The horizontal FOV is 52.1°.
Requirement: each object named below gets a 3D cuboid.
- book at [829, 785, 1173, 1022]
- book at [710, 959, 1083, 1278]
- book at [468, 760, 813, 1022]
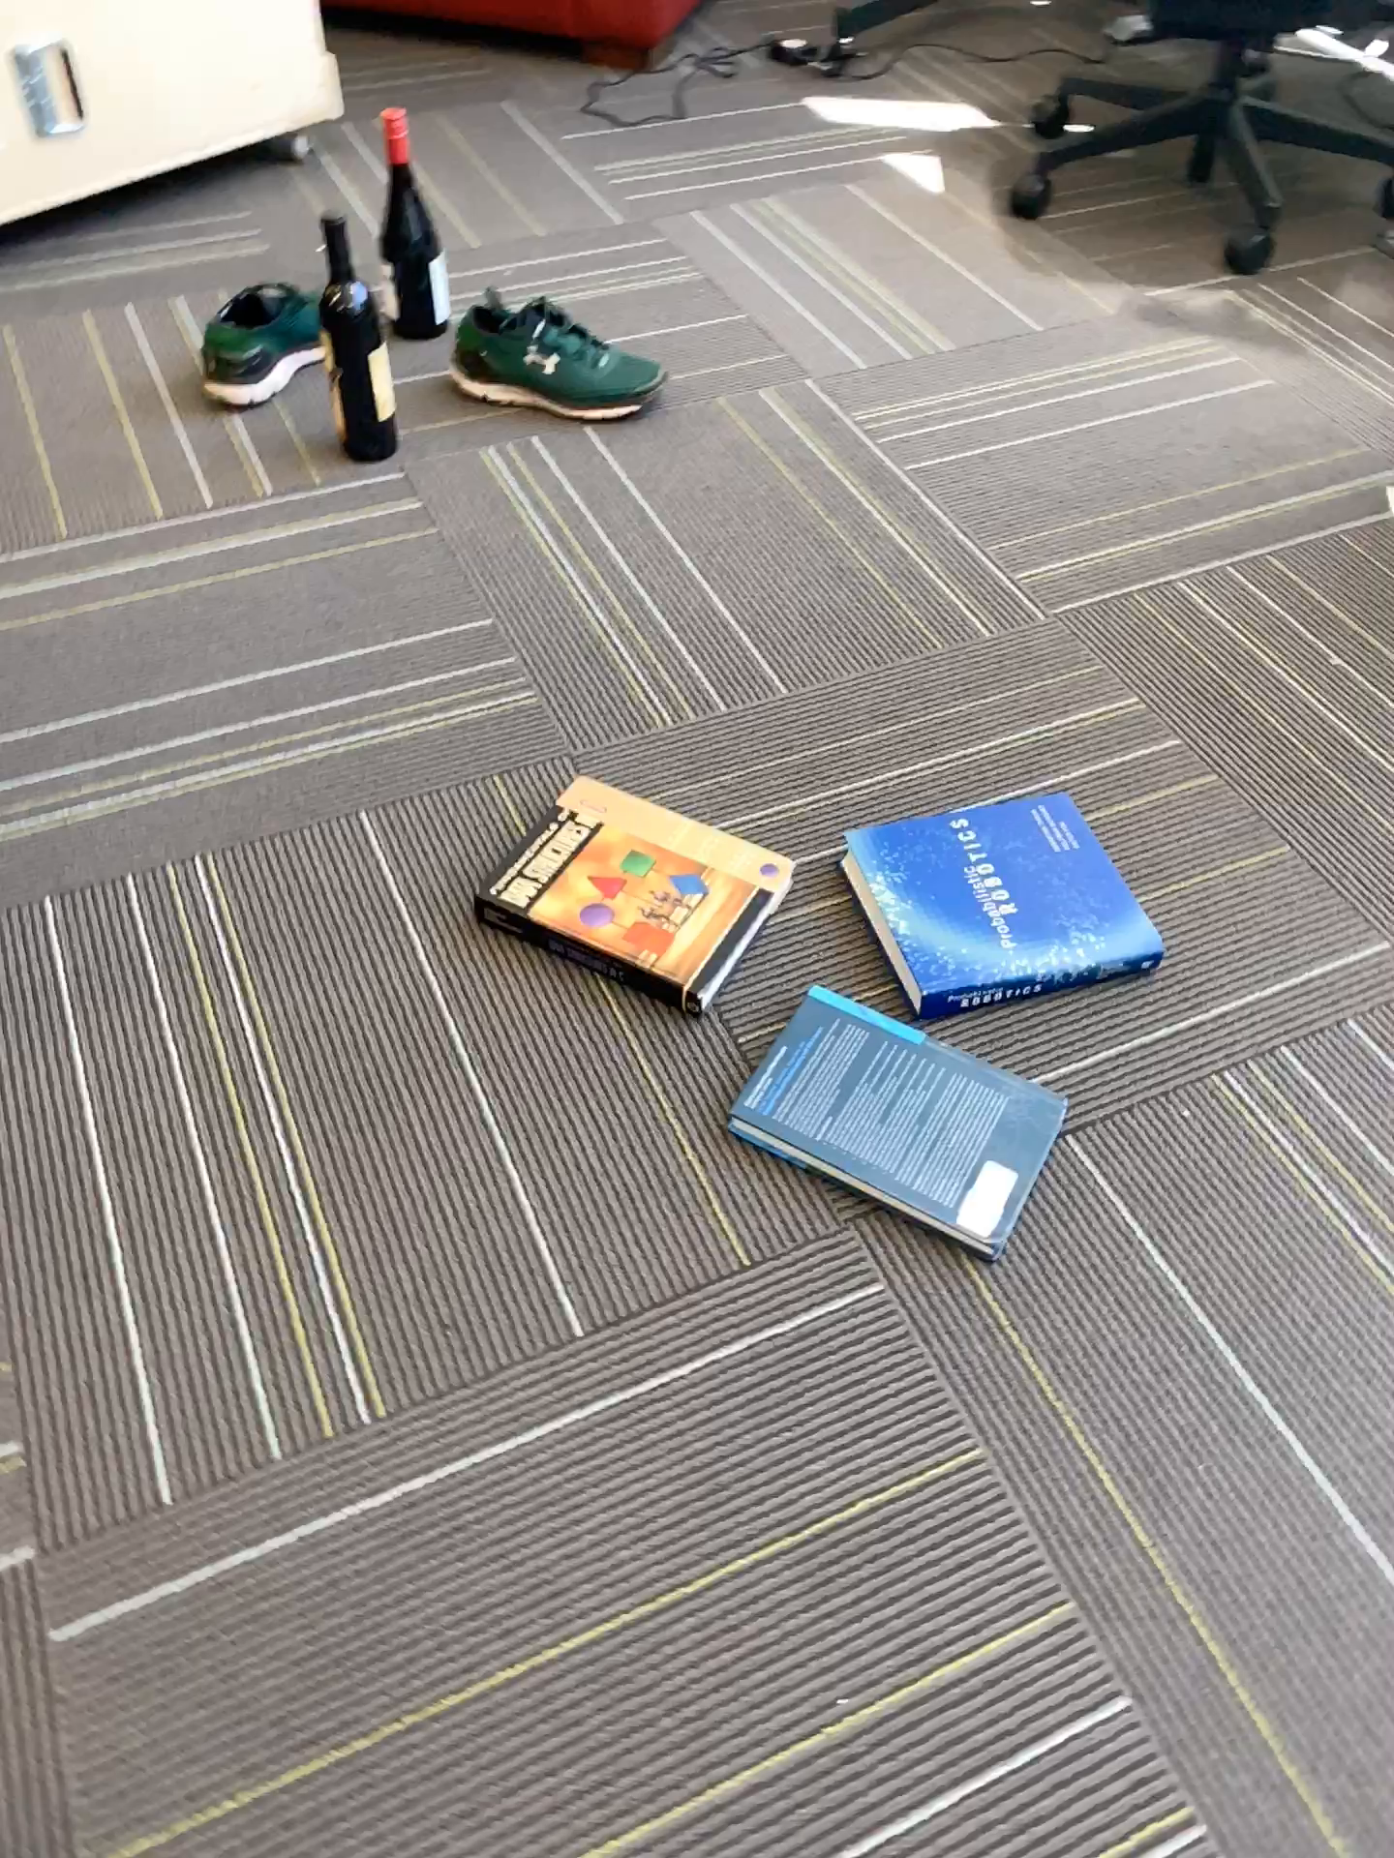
[{"bbox_3d":[0.273,-0.029,1.312,0.245,0.040,0.206,-11,49,-11],"label":"book"},{"bbox_3d":[0.161,0.145,1.148,0.247,0.040,0.171,26,52,17],"label":"book"},{"bbox_3d":[-0.049,-0.042,1.294,0.247,0.040,0.192,23,51,18],"label":"book"}]
